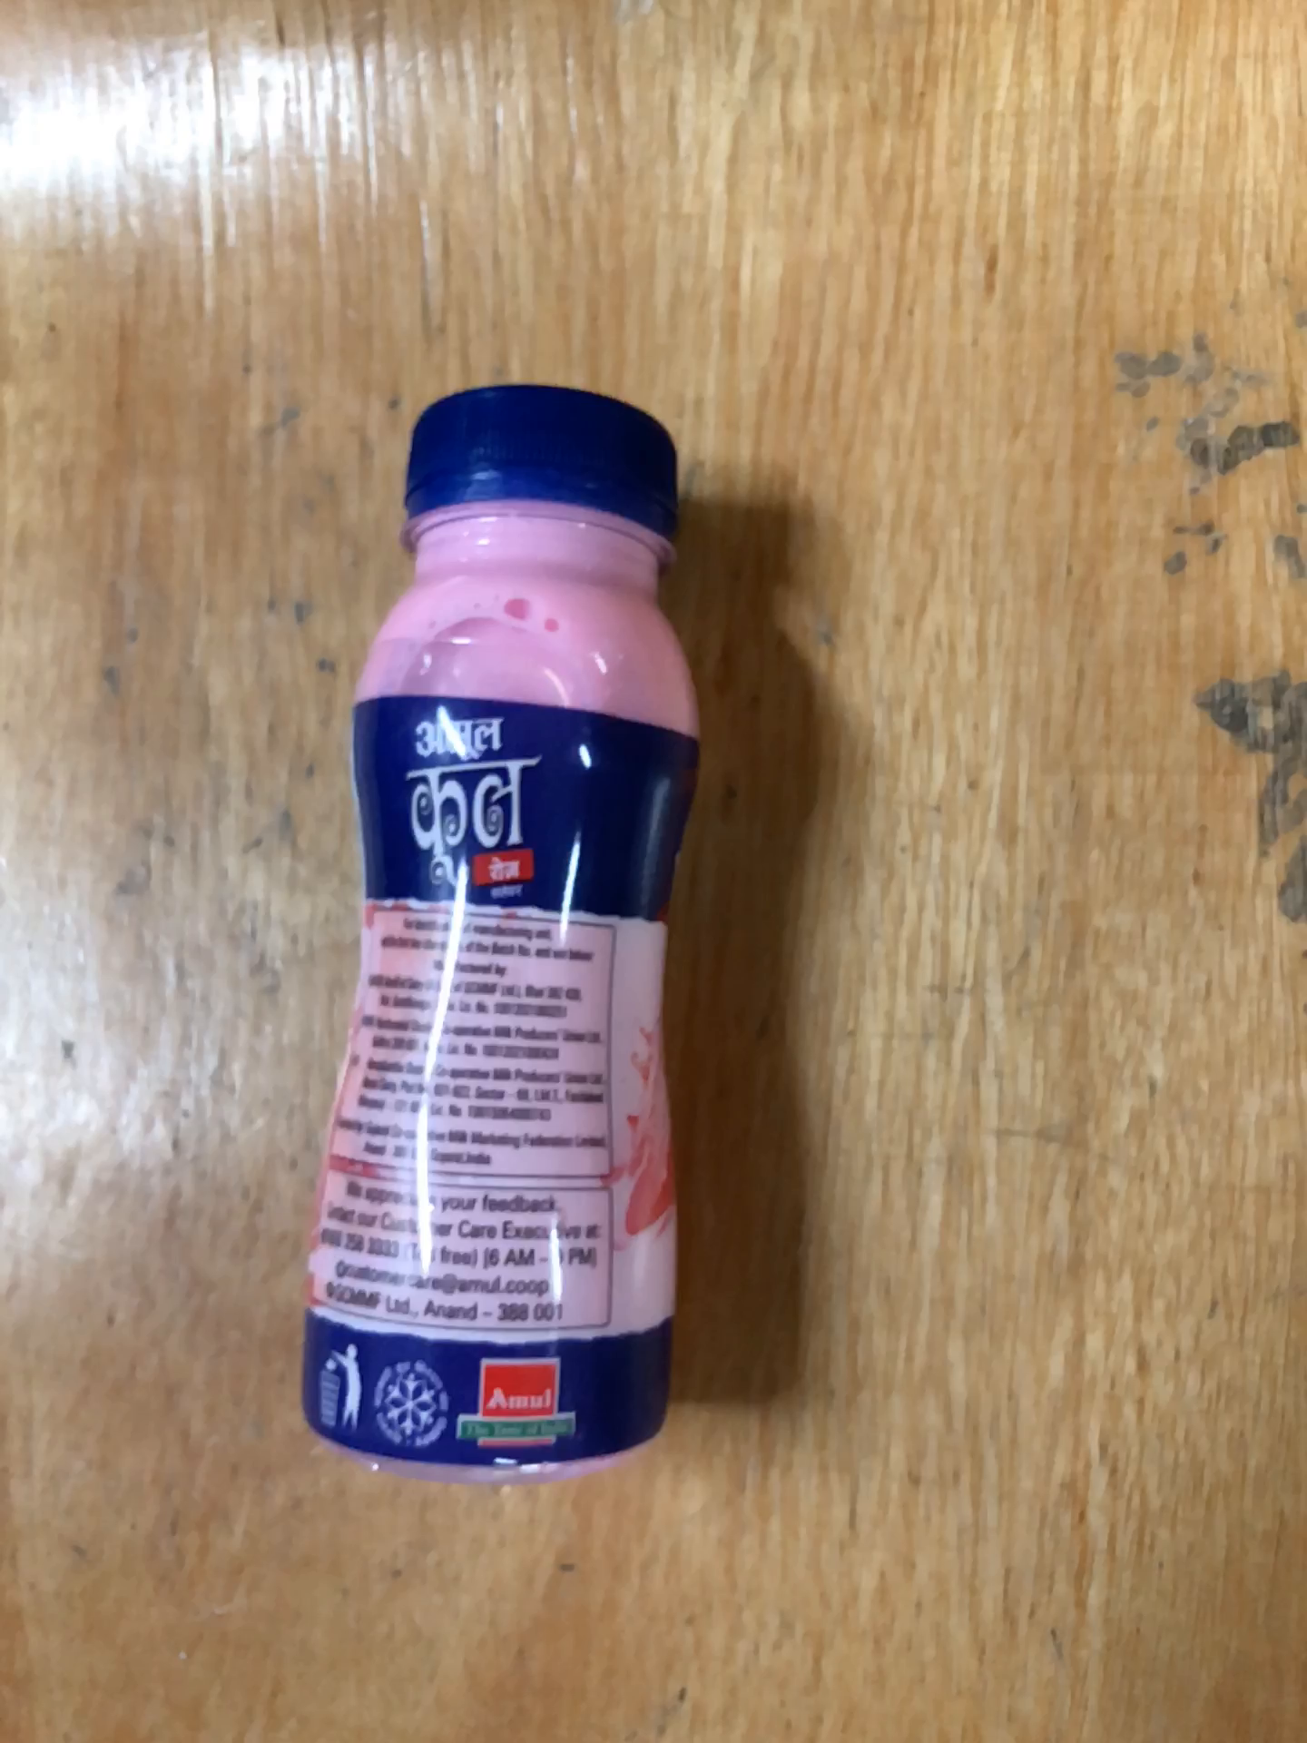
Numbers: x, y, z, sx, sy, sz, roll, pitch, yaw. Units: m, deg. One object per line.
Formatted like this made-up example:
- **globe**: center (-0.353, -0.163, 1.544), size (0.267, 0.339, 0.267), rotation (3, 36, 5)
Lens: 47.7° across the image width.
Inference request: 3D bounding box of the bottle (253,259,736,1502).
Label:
- **bottle**: center (-0.018, 0.000, 0.202), size (0.050, 0.040, 0.150), rotation (2, 87, 10)
